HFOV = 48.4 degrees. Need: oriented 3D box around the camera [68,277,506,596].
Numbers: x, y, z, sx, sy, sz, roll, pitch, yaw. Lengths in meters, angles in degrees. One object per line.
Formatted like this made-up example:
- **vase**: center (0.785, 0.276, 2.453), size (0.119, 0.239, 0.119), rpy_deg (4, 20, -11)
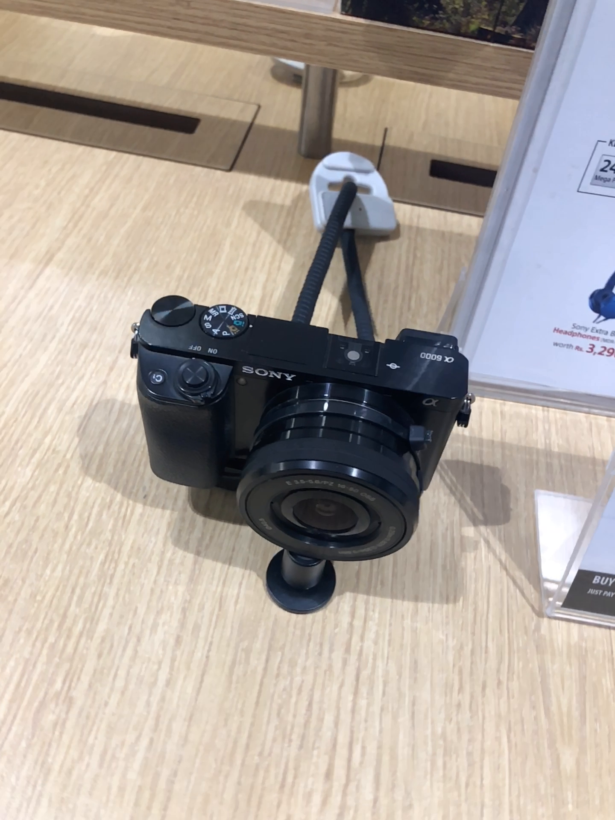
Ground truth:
- **camera**: center (-0.004, 0.010, 0.250), size (0.130, 0.070, 0.070), rpy_deg (8, 50, 1)
